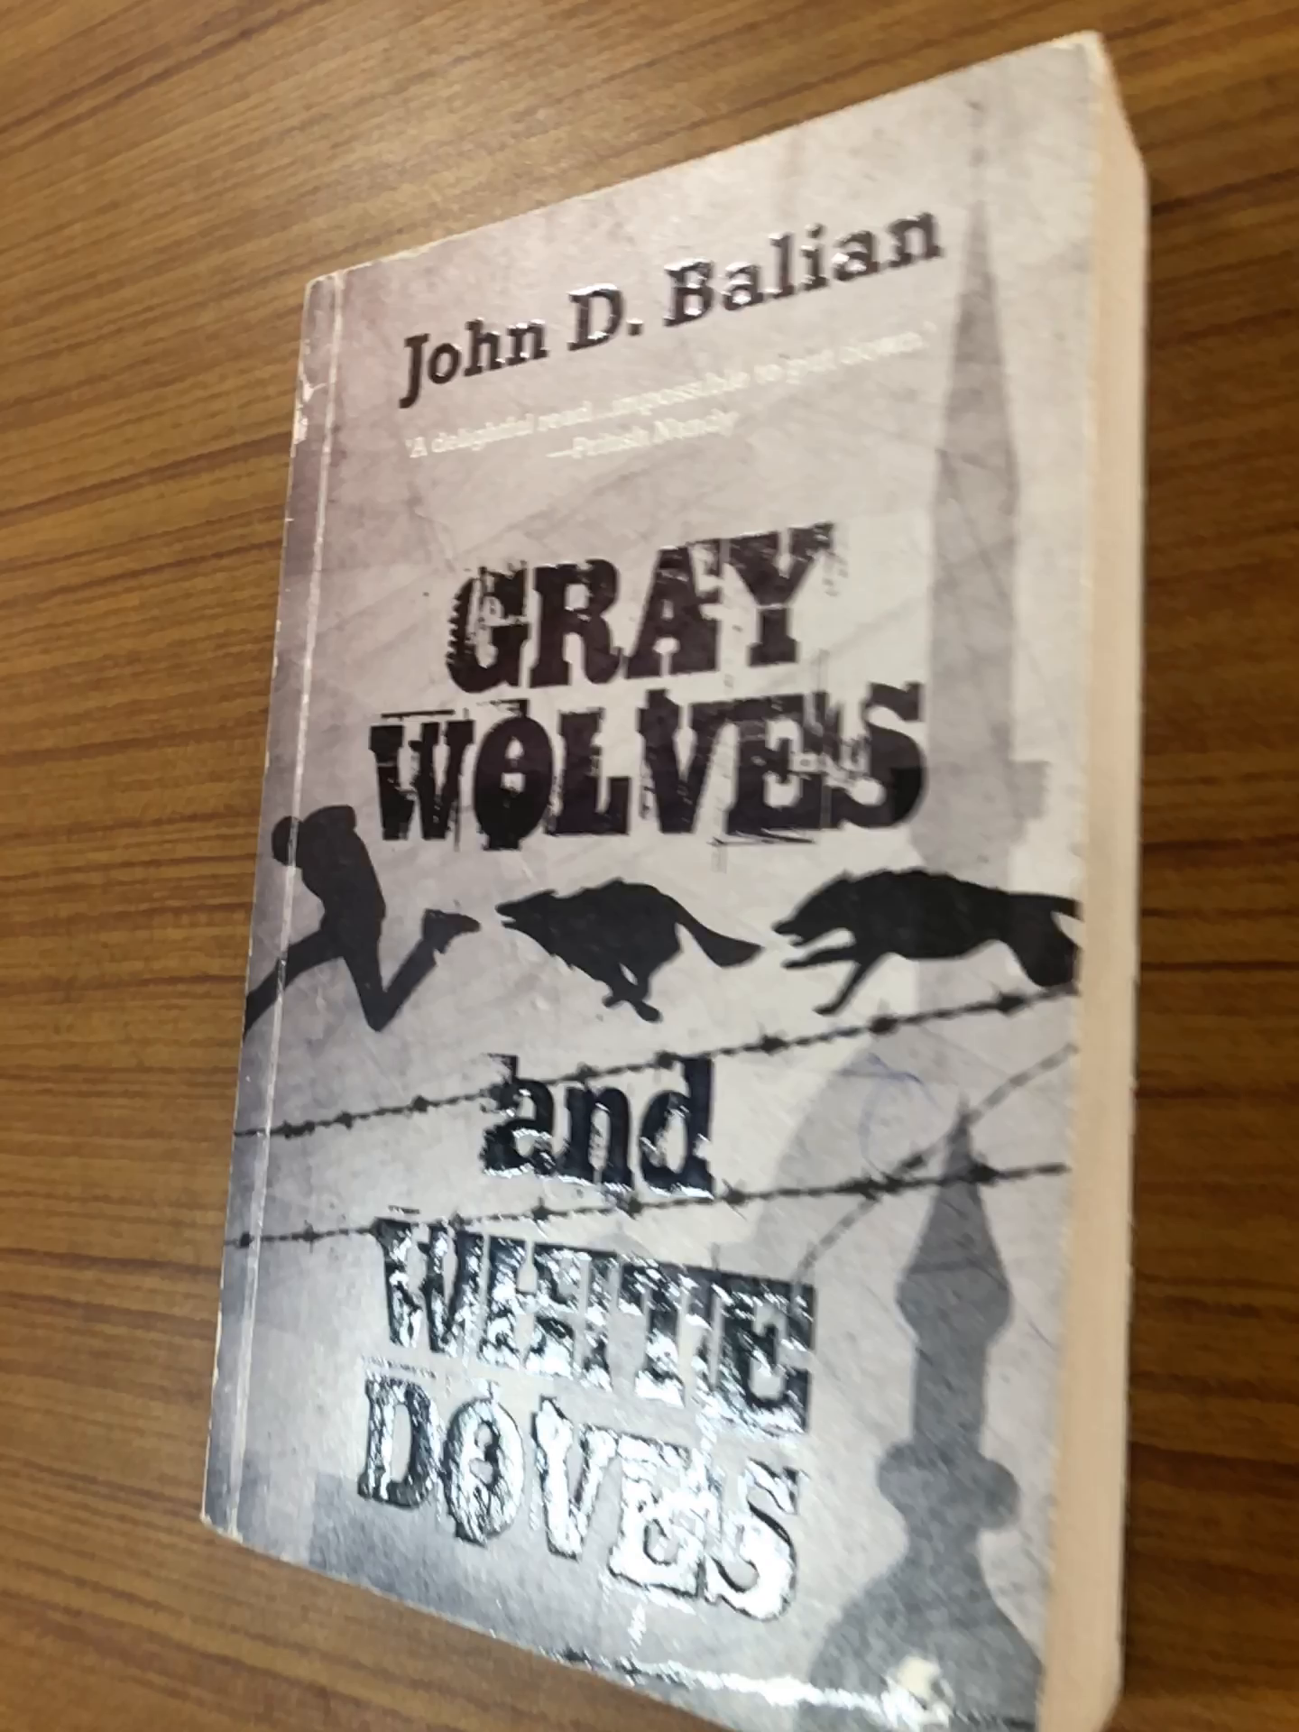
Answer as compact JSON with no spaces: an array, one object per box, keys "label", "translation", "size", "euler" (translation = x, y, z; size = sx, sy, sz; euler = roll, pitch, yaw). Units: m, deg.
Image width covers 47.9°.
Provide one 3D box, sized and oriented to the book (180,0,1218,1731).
[{"label":"book","translation":[0.001,-0.006,0.195],"size":[0.130,0.030,0.210],"euler":[0,83,35]}]
